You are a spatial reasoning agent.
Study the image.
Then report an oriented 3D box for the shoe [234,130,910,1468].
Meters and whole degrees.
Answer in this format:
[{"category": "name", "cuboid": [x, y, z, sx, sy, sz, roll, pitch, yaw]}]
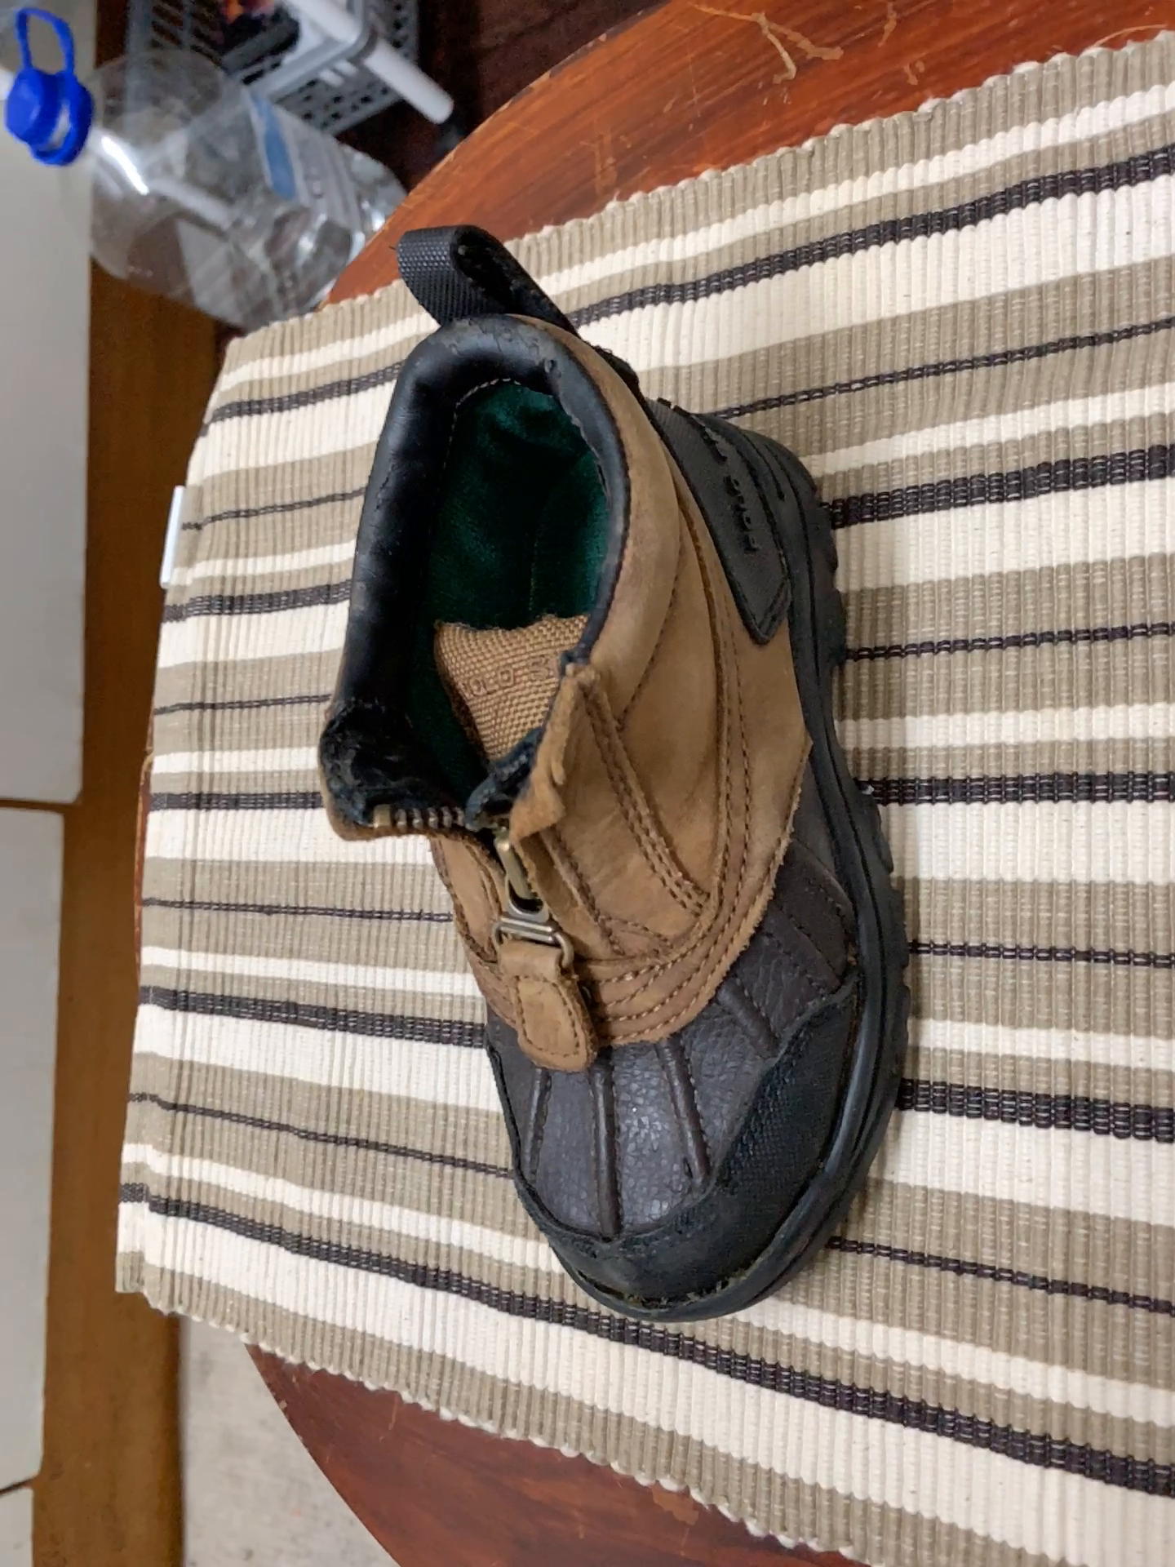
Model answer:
[{"category": "shoe", "cuboid": [0.002, 0.003, 0.222, 0.080, 0.090, 0.180, -5, 81, 35]}]
